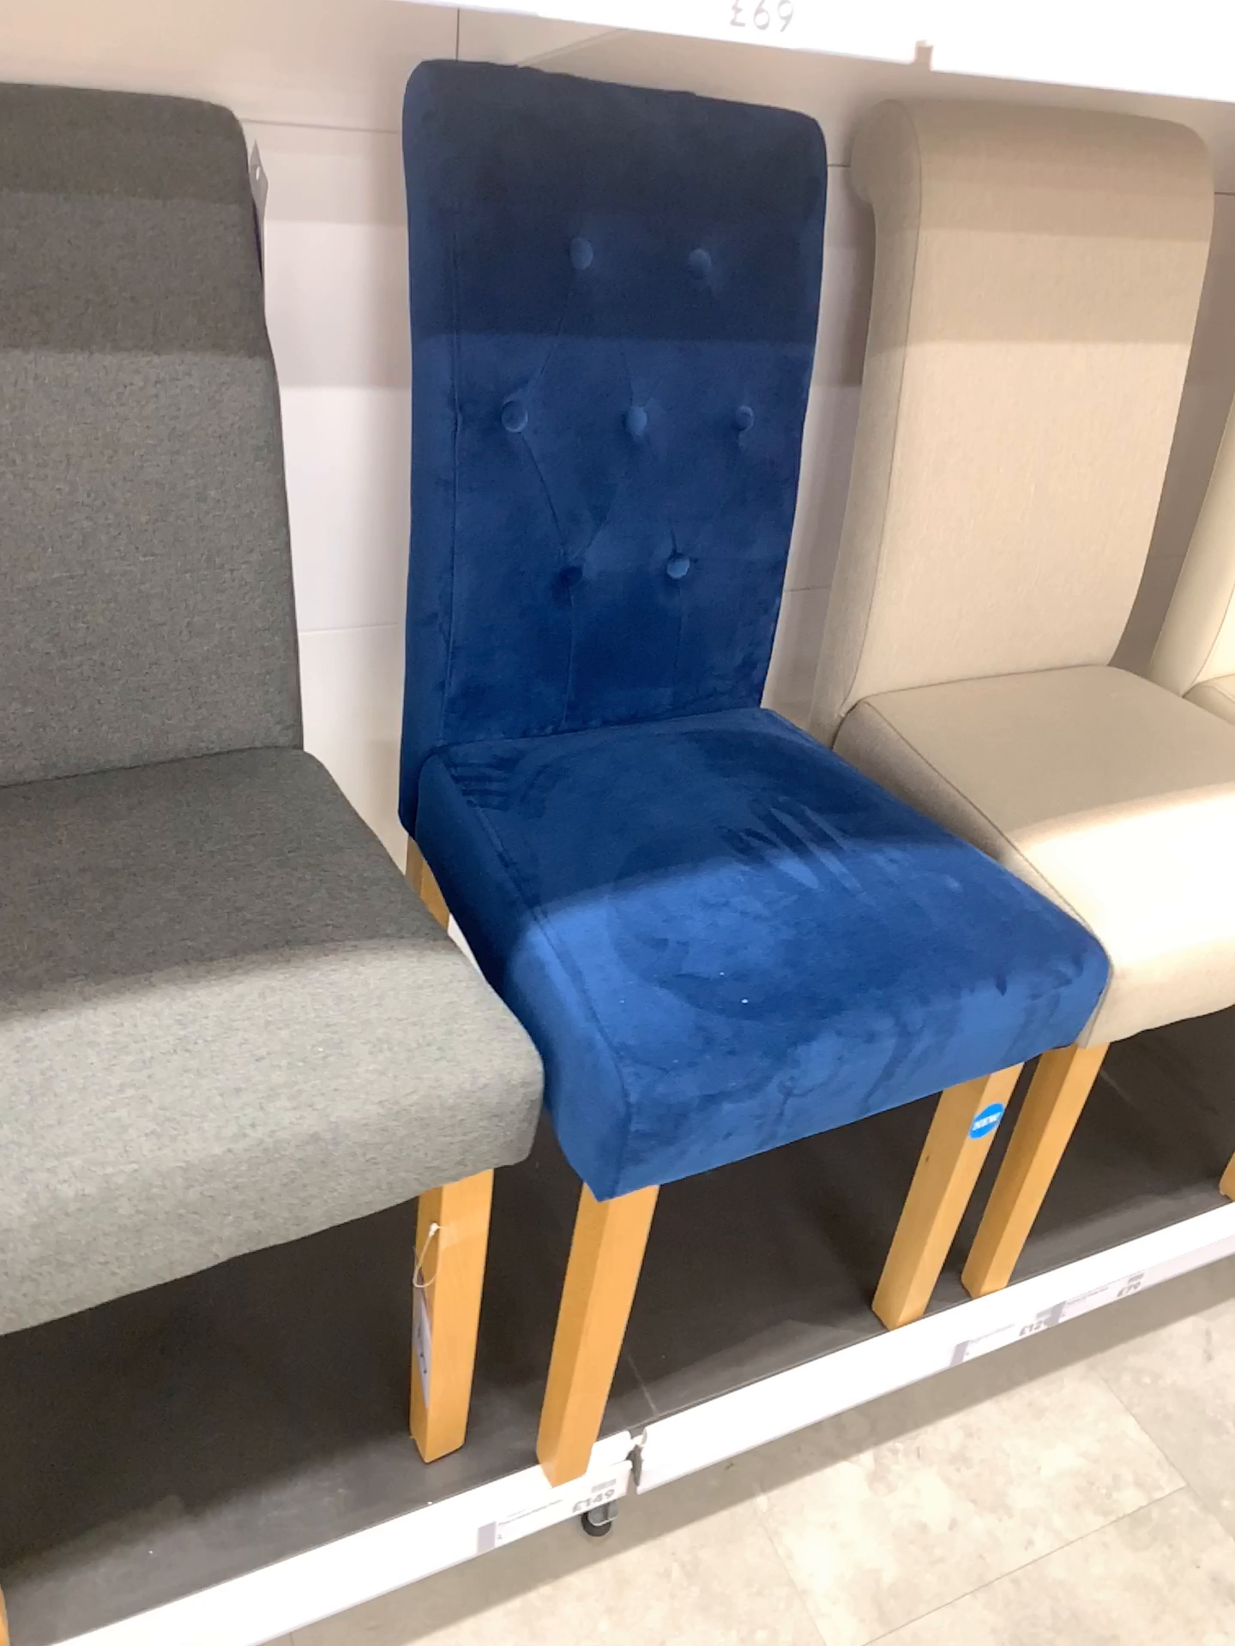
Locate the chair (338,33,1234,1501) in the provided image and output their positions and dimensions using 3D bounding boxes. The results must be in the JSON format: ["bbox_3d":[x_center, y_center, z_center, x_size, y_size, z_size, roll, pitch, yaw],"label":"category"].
[{"bbox_3d":[0.074,-0.036,1.008,0.433,0.929,0.523,-9,37,-27],"label":"chair"}]

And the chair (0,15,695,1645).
[{"bbox_3d":[-0.355,0.003,0.889,0.414,0.890,0.623,-12,37,-29],"label":"chair"}]
